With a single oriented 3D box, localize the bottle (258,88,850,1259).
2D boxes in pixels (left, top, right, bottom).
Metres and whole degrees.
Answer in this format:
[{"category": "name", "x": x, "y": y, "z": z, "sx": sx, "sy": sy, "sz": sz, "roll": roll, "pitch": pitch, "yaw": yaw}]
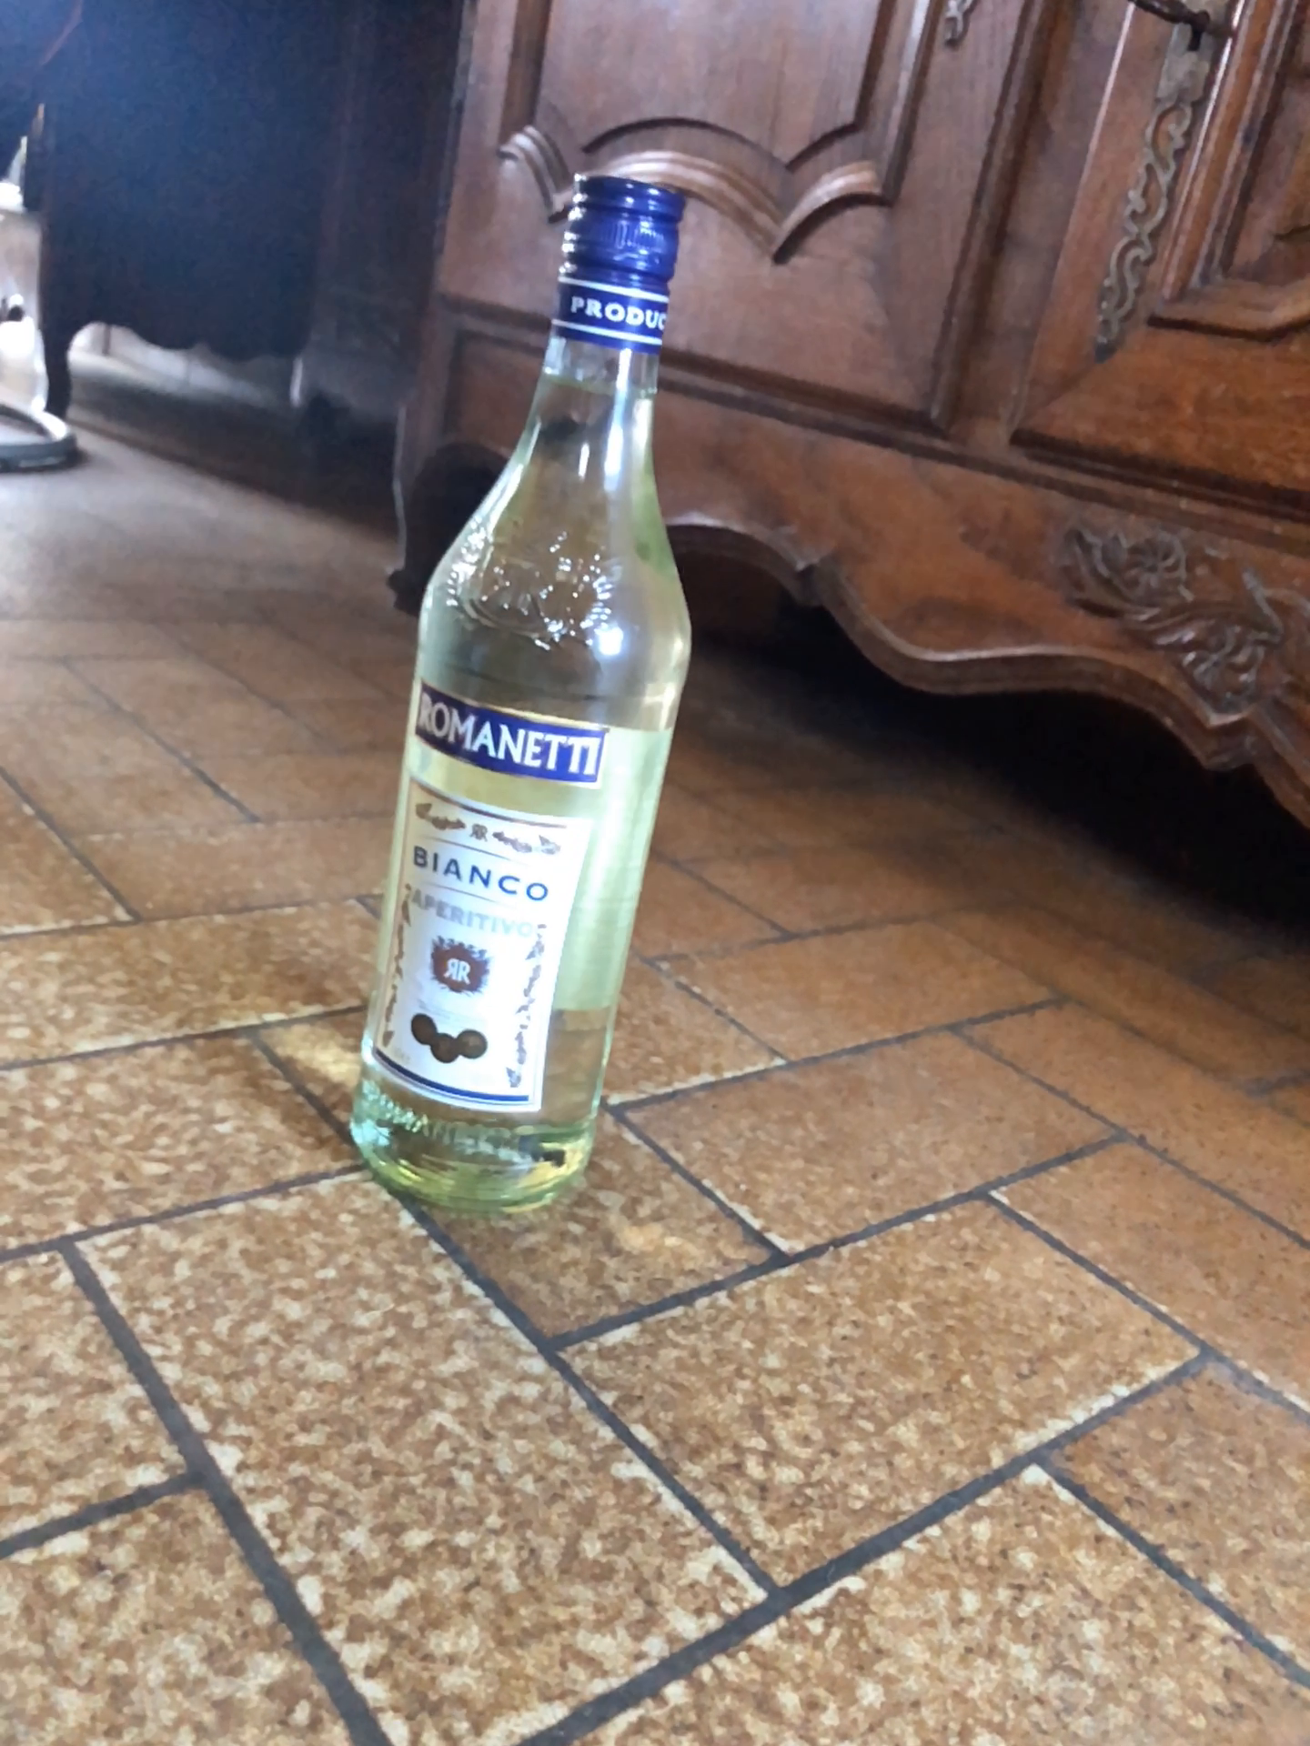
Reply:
[{"category": "bottle", "x": -0.033, "y": -0.052, "z": 0.435, "sx": 0.100, "sy": 0.298, "sz": 0.101, "roll": 10, "pitch": 19, "yaw": -4}]
